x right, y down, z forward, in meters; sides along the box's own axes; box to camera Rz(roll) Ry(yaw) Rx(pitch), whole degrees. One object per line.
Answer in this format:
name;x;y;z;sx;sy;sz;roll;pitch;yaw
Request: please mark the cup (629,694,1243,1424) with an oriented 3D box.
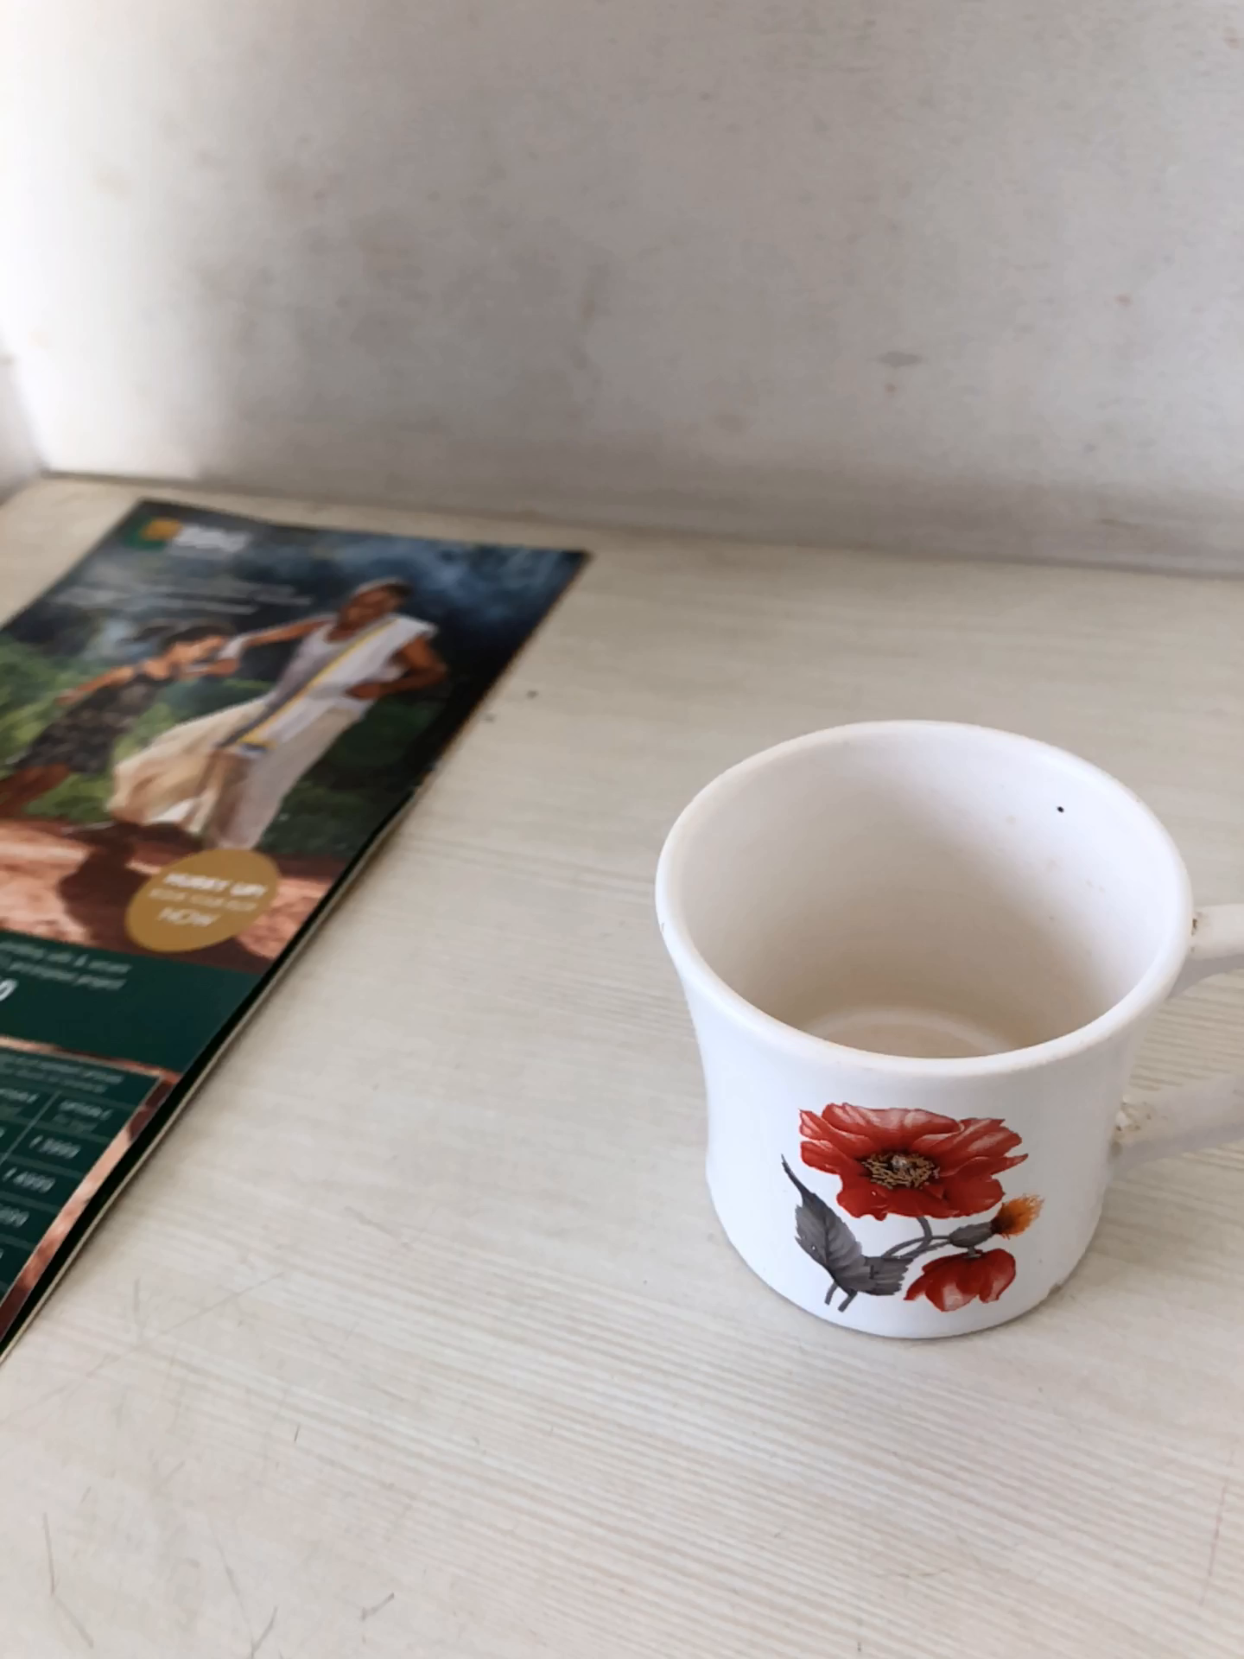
cup;0.053;0.031;0.199;0.090;0.070;0.070;-1;38;8
